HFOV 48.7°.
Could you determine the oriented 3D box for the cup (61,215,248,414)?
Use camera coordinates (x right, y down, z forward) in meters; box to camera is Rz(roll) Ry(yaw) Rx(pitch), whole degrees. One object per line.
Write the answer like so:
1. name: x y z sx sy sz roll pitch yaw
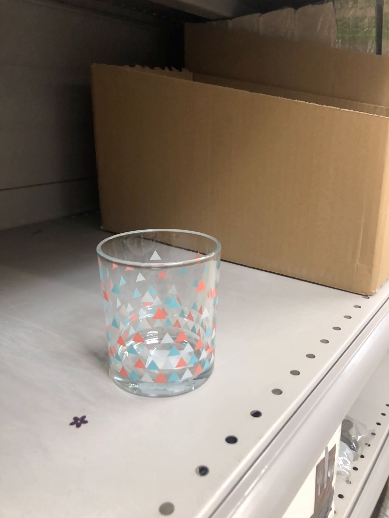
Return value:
1. cup: -0.022 0.025 0.262 0.076 0.081 0.077 0 18 0
